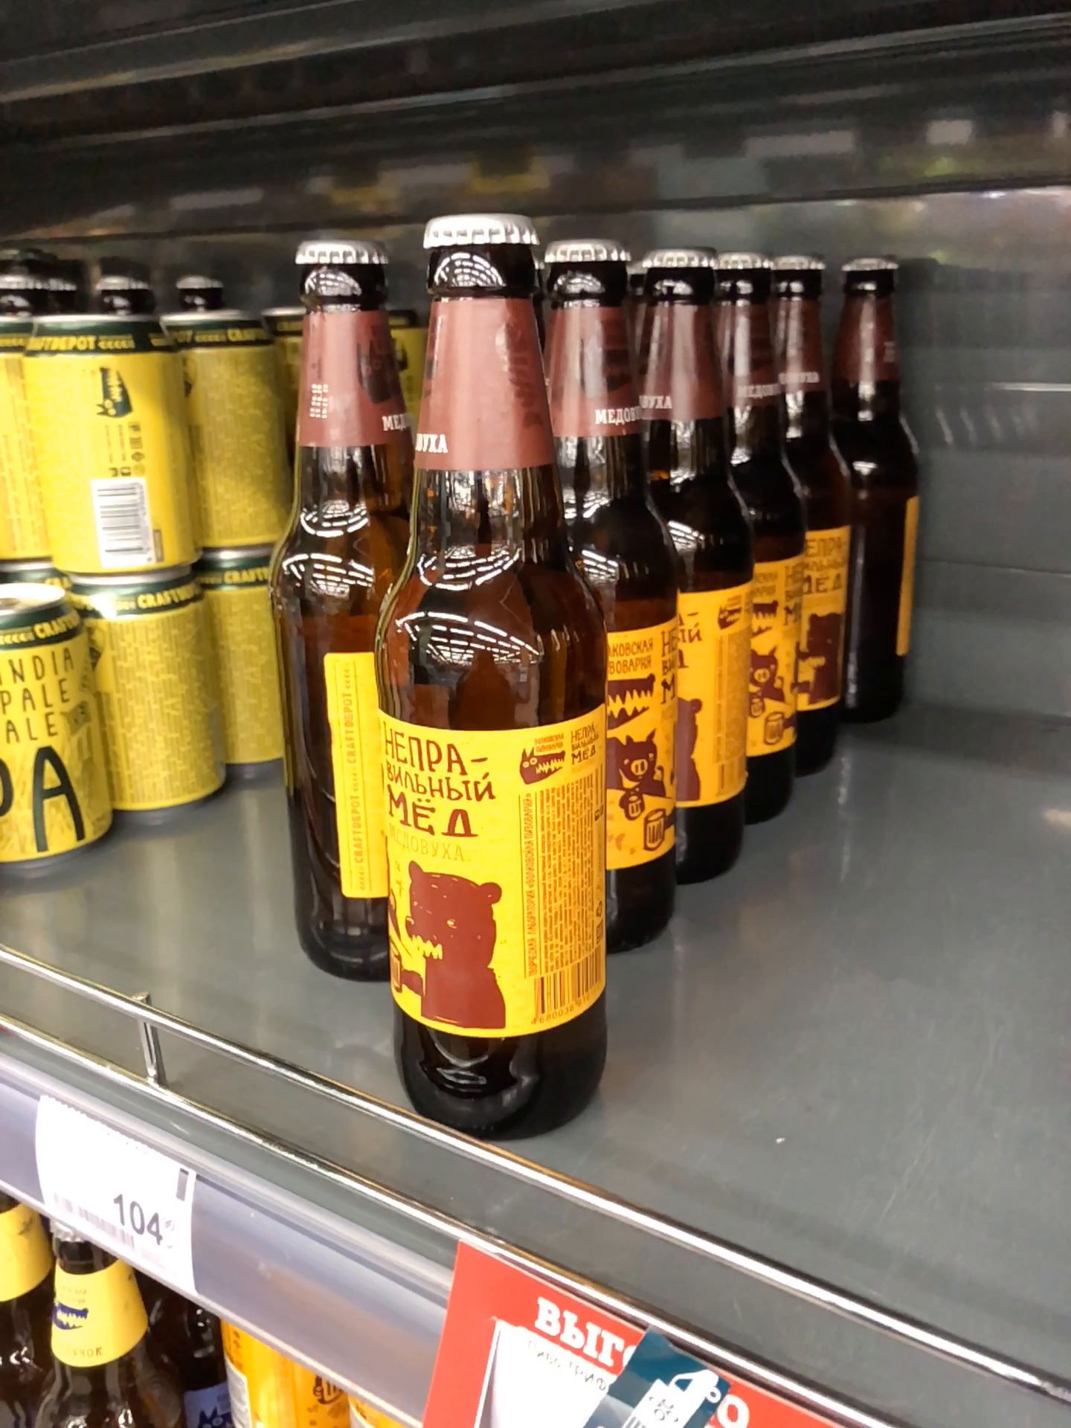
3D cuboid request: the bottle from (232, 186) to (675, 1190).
[{"bbox_3d":[-0.016,-0.006,0.321,0.080,0.243,0.070,10,21,28],"label":"bottle"}]
